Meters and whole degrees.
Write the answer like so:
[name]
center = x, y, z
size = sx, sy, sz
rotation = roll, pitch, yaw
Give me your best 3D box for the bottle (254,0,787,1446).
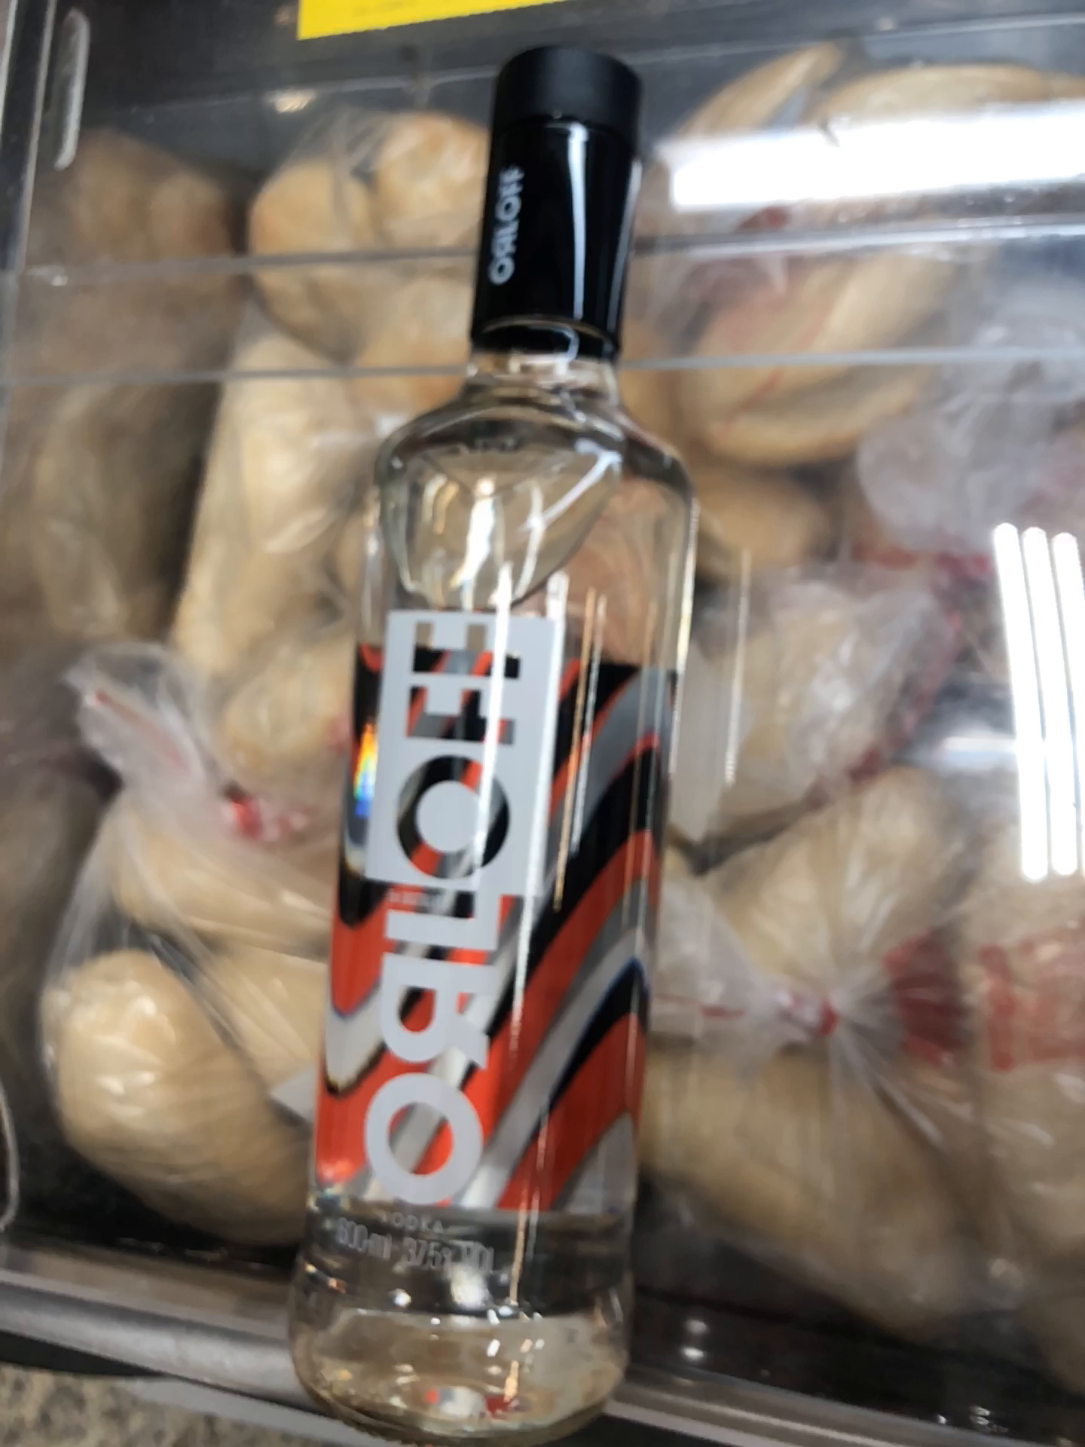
[bottle]
center = 0.002, -0.011, 0.263
size = 0.070, 0.070, 0.300
rotation = 4, 86, 18
